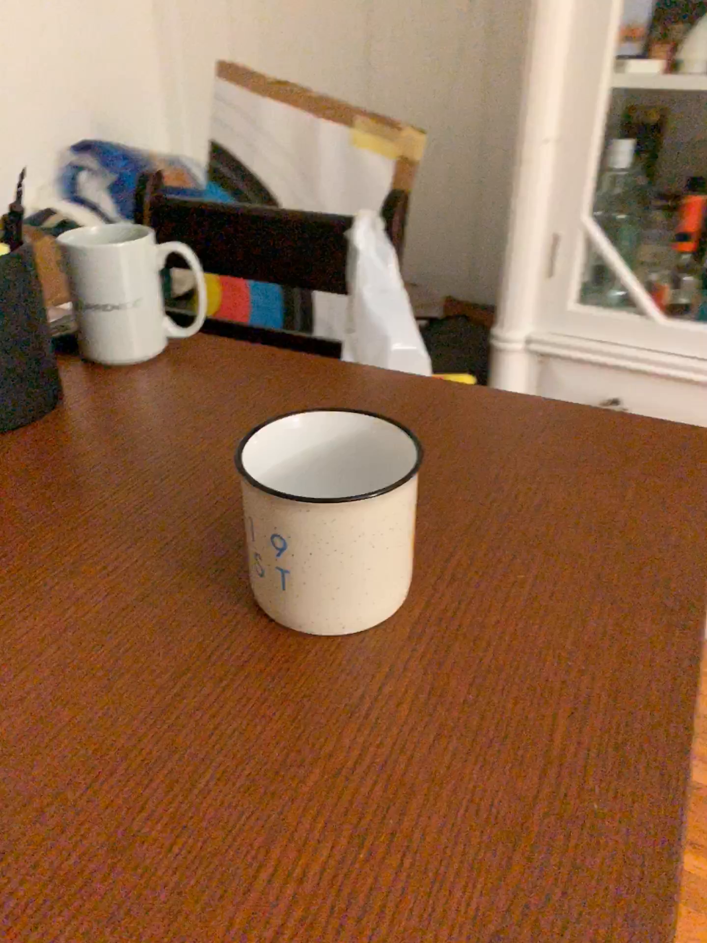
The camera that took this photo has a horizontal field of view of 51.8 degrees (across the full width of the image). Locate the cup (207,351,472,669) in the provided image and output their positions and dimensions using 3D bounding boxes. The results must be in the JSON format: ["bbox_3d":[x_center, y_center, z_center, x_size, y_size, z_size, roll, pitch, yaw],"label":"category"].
[{"bbox_3d":[-0.016,0.011,0.414,0.100,0.099,0.151,-10,32,-16],"label":"cup"}]
